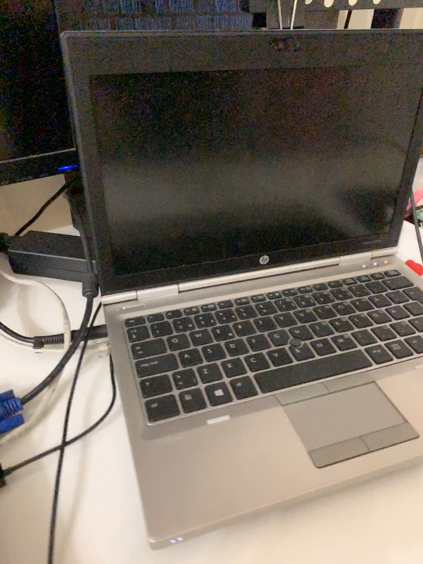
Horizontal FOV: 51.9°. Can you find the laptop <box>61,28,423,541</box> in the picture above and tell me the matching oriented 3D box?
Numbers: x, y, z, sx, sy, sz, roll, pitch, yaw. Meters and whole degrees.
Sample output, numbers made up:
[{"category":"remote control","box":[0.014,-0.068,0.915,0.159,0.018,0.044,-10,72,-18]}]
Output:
[{"category":"laptop","box":[0.079,-0.040,0.295,0.303,0.205,0.225,-10,36,-16]}]
